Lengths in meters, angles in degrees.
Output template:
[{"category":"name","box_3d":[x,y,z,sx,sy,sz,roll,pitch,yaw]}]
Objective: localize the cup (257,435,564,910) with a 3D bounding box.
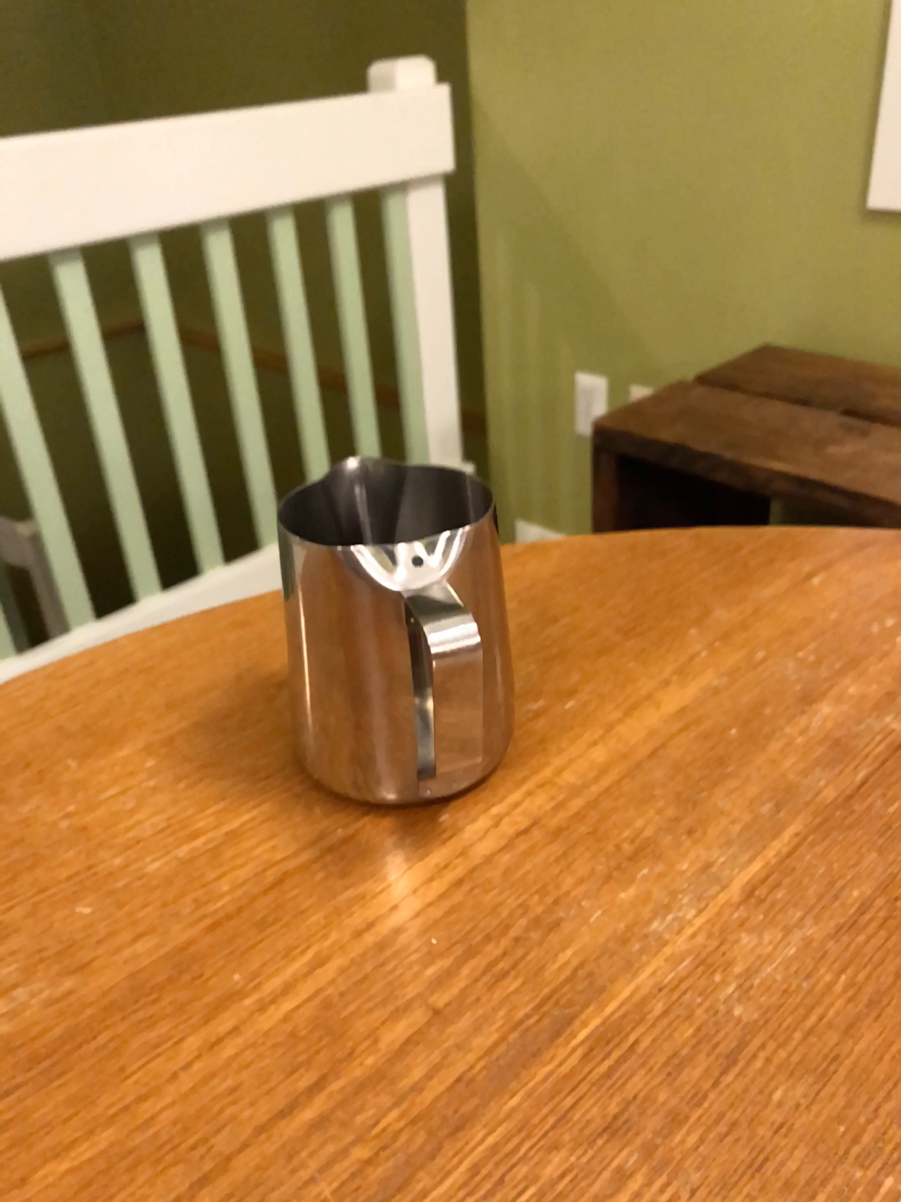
[{"category":"cup","box_3d":[-0.019,0.019,0.386,0.082,0.114,0.136,-10,30,-10]}]
